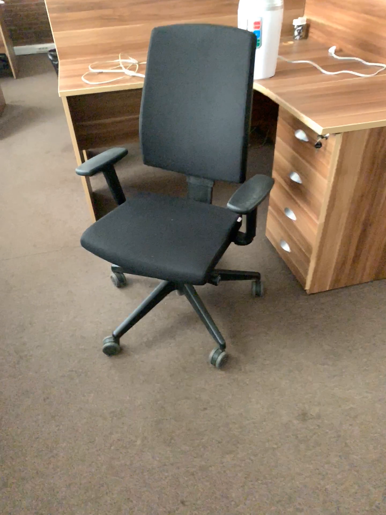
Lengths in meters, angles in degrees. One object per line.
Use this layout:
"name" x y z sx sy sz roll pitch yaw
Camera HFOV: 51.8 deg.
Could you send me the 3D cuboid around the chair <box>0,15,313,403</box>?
"chair" -0.093 -0.220 1.345 0.671 0.915 0.793 16 42 22
